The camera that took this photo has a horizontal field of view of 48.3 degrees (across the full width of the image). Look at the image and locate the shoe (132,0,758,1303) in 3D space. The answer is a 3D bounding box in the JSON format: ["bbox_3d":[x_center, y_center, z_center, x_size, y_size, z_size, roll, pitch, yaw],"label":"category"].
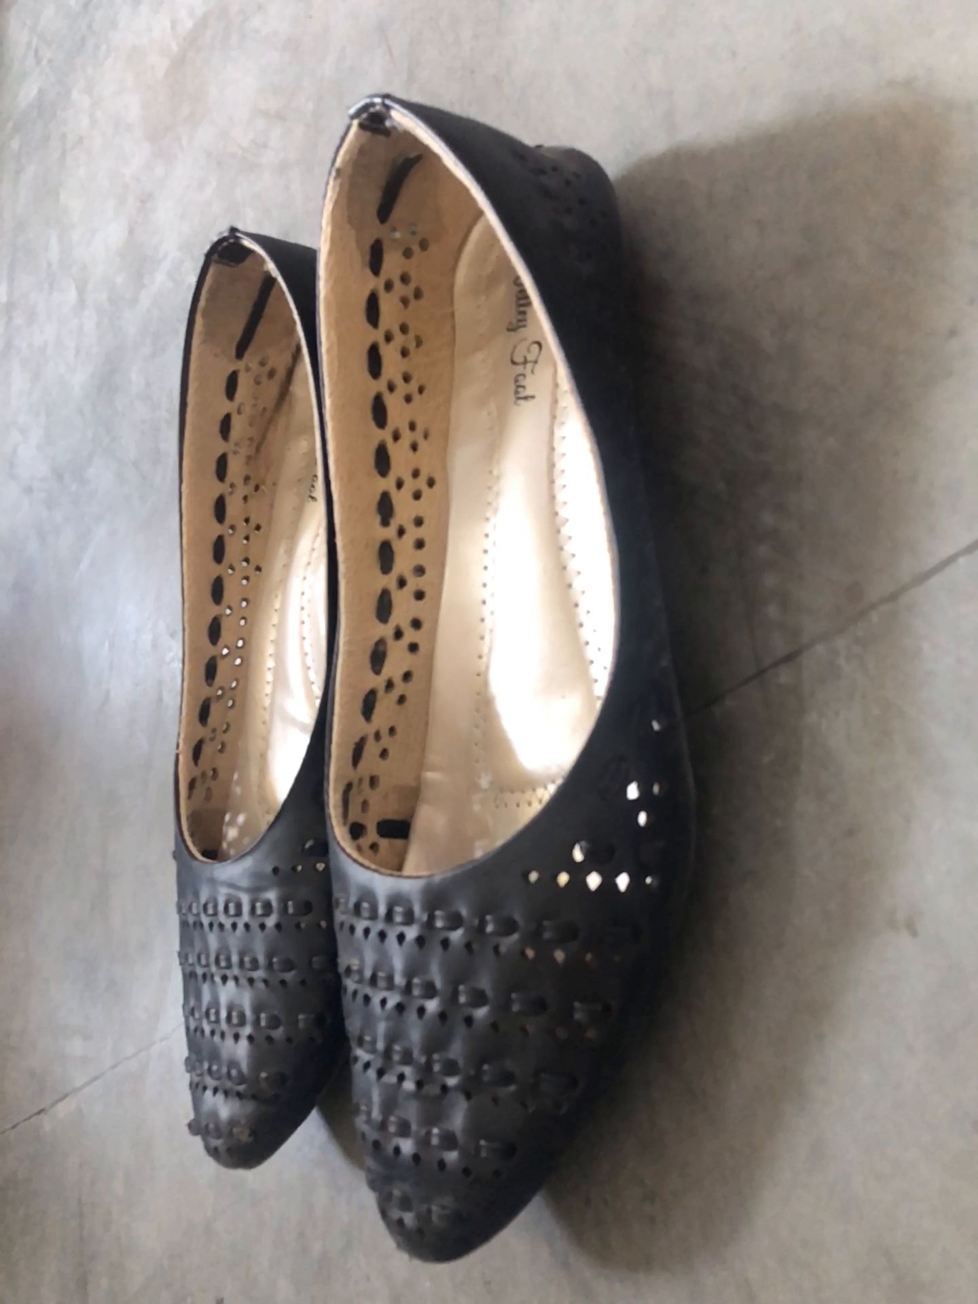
[{"bbox_3d":[-0.007,0.000,0.235,0.096,0.073,0.242,-14,69,46],"label":"shoe"}]

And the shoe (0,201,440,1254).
[{"bbox_3d":[-0.078,0.016,0.303,0.096,0.062,0.242,-10,72,47],"label":"shoe"}]
